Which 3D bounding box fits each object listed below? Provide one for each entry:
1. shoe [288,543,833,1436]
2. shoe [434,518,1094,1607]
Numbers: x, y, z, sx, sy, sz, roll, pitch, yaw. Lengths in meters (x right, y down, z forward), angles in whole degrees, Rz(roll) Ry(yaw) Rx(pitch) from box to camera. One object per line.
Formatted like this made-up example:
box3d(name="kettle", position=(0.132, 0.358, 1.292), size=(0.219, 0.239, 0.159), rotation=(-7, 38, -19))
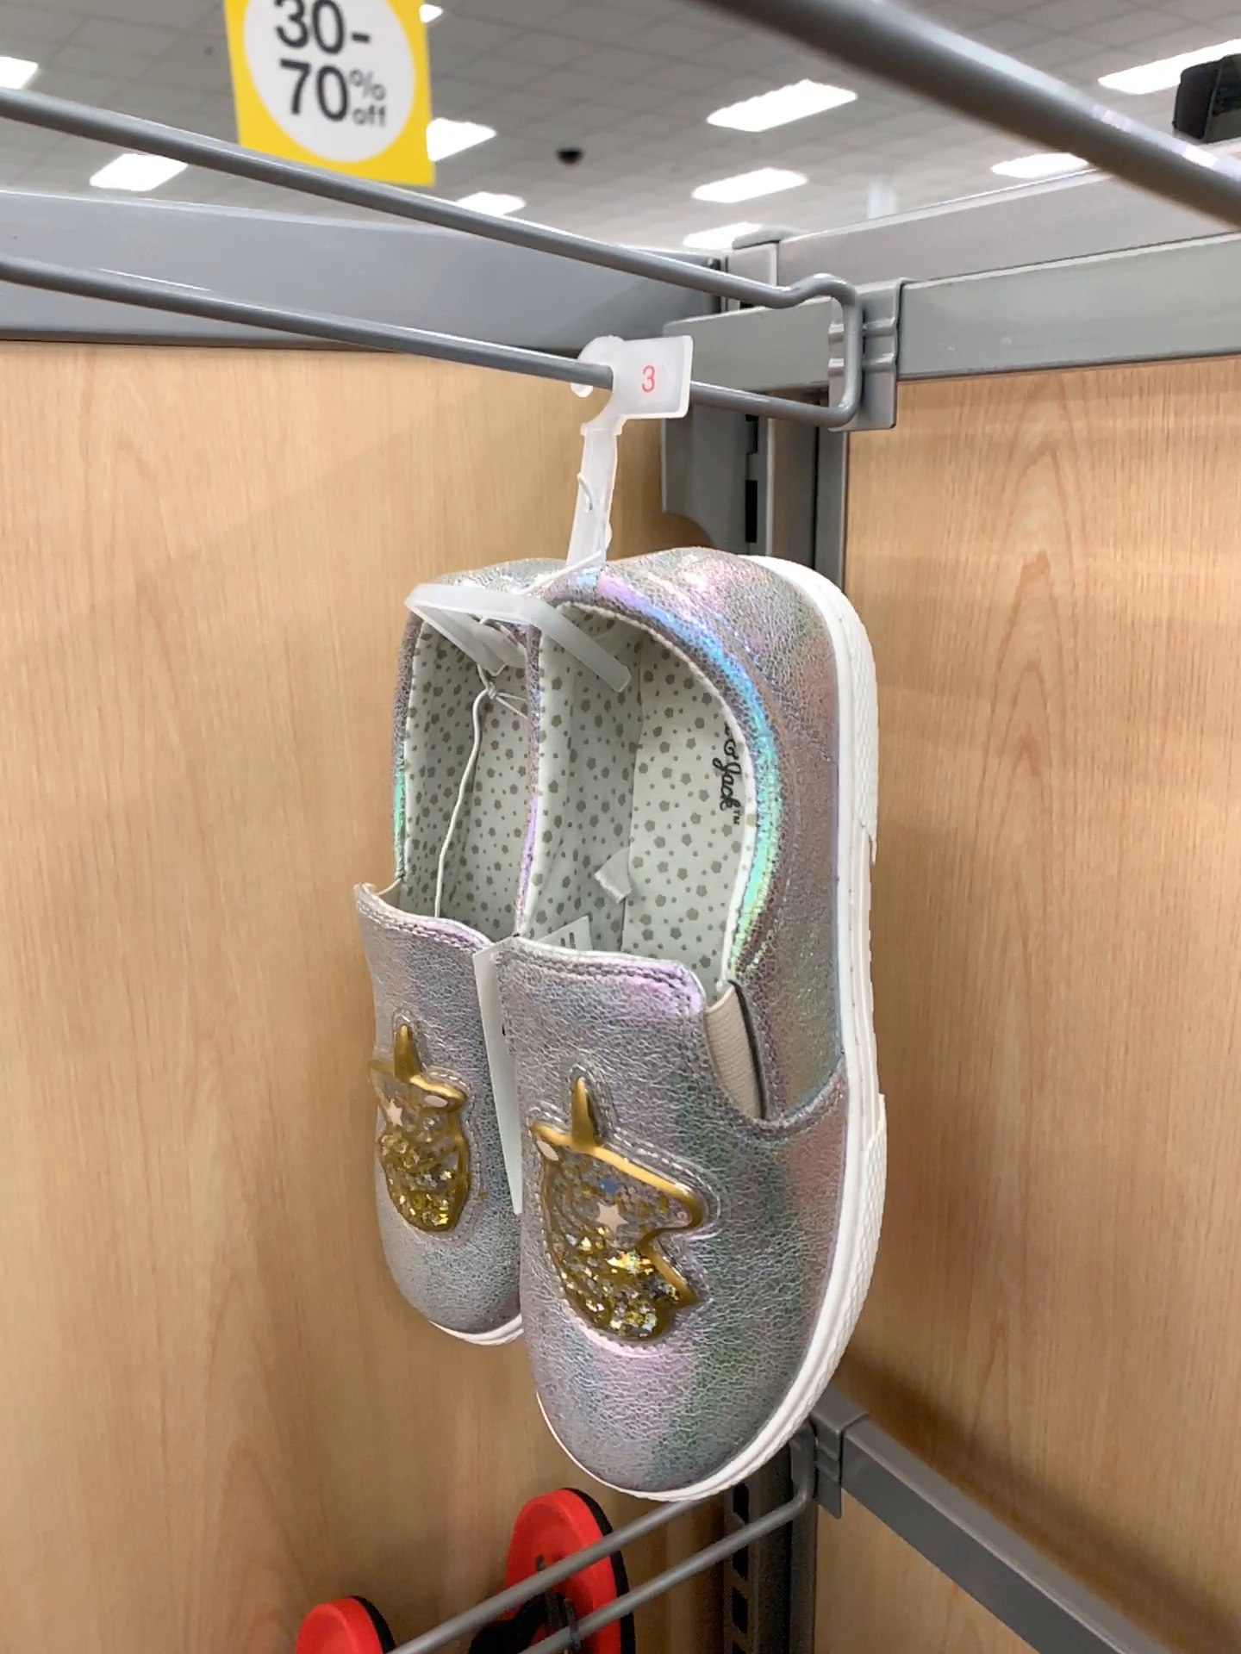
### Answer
box3d(name="shoe", position=(-0.021, 0.032, 0.378), size=(0.113, 0.221, 0.100), rotation=(-8, 16, -39))
box3d(name="shoe", position=(0.029, 0.039, 0.318), size=(0.113, 0.221, 0.100), rotation=(-8, 16, -39))
